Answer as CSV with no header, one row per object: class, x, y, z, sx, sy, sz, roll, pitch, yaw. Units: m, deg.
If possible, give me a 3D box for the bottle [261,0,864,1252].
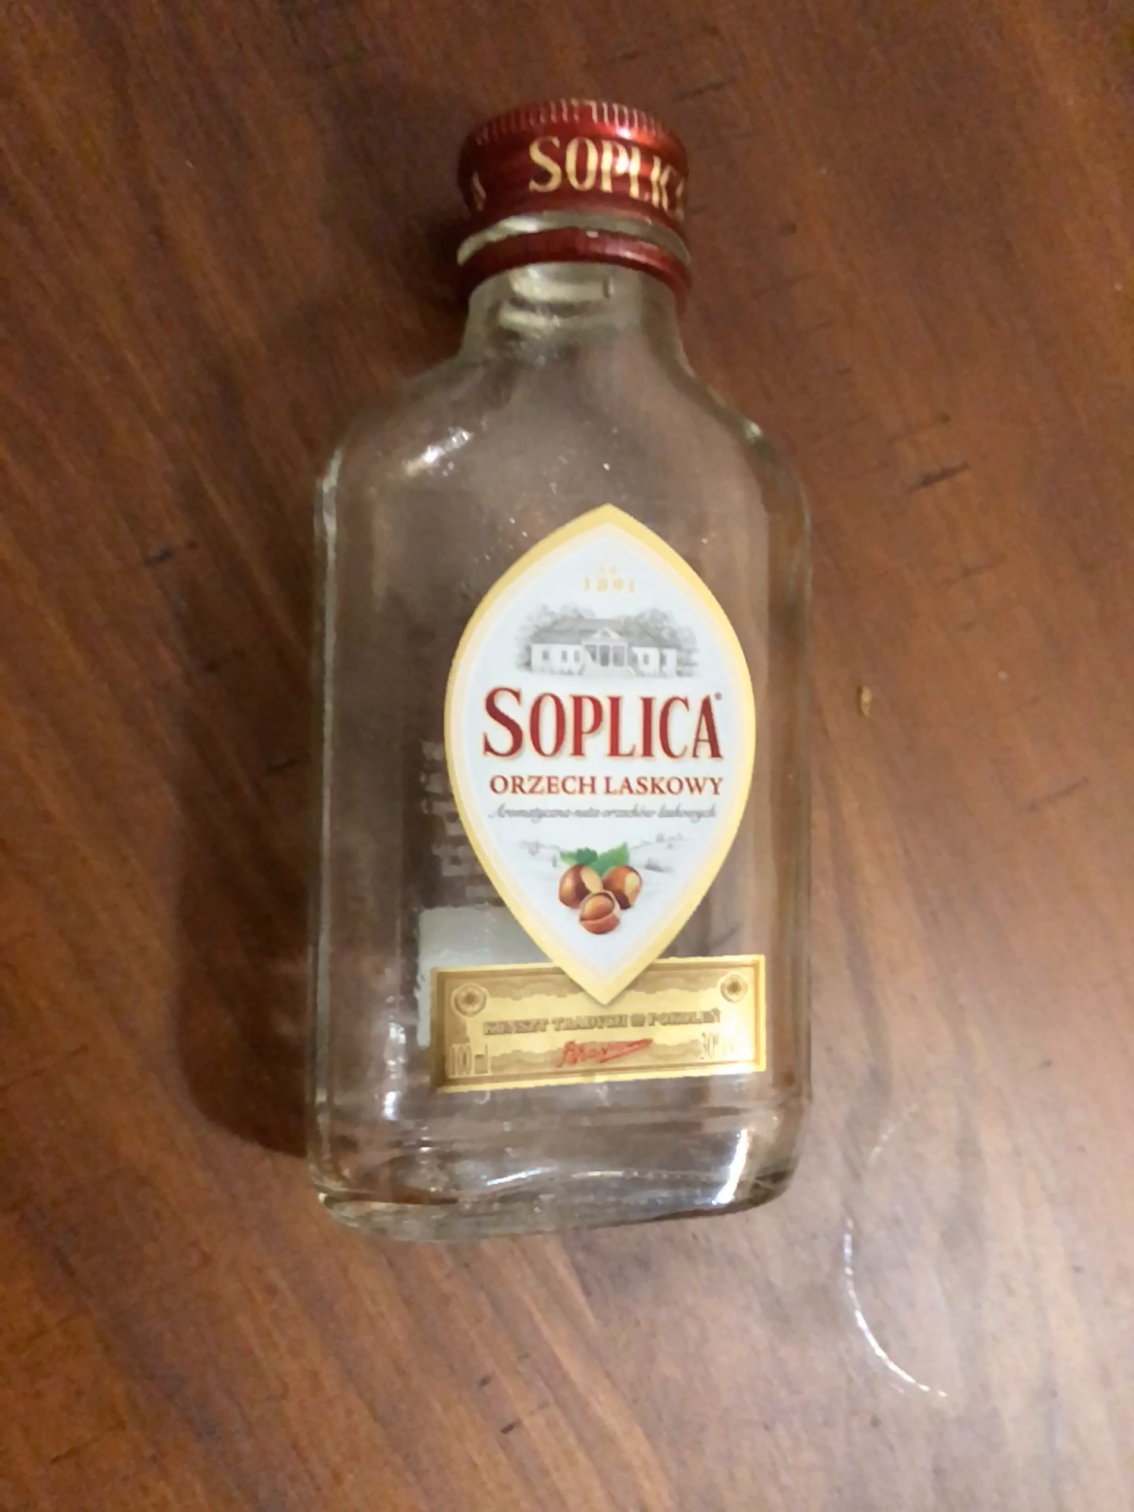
bottle,-0.002,-0.021,0.165,0.070,0.030,0.150,0,87,-18
